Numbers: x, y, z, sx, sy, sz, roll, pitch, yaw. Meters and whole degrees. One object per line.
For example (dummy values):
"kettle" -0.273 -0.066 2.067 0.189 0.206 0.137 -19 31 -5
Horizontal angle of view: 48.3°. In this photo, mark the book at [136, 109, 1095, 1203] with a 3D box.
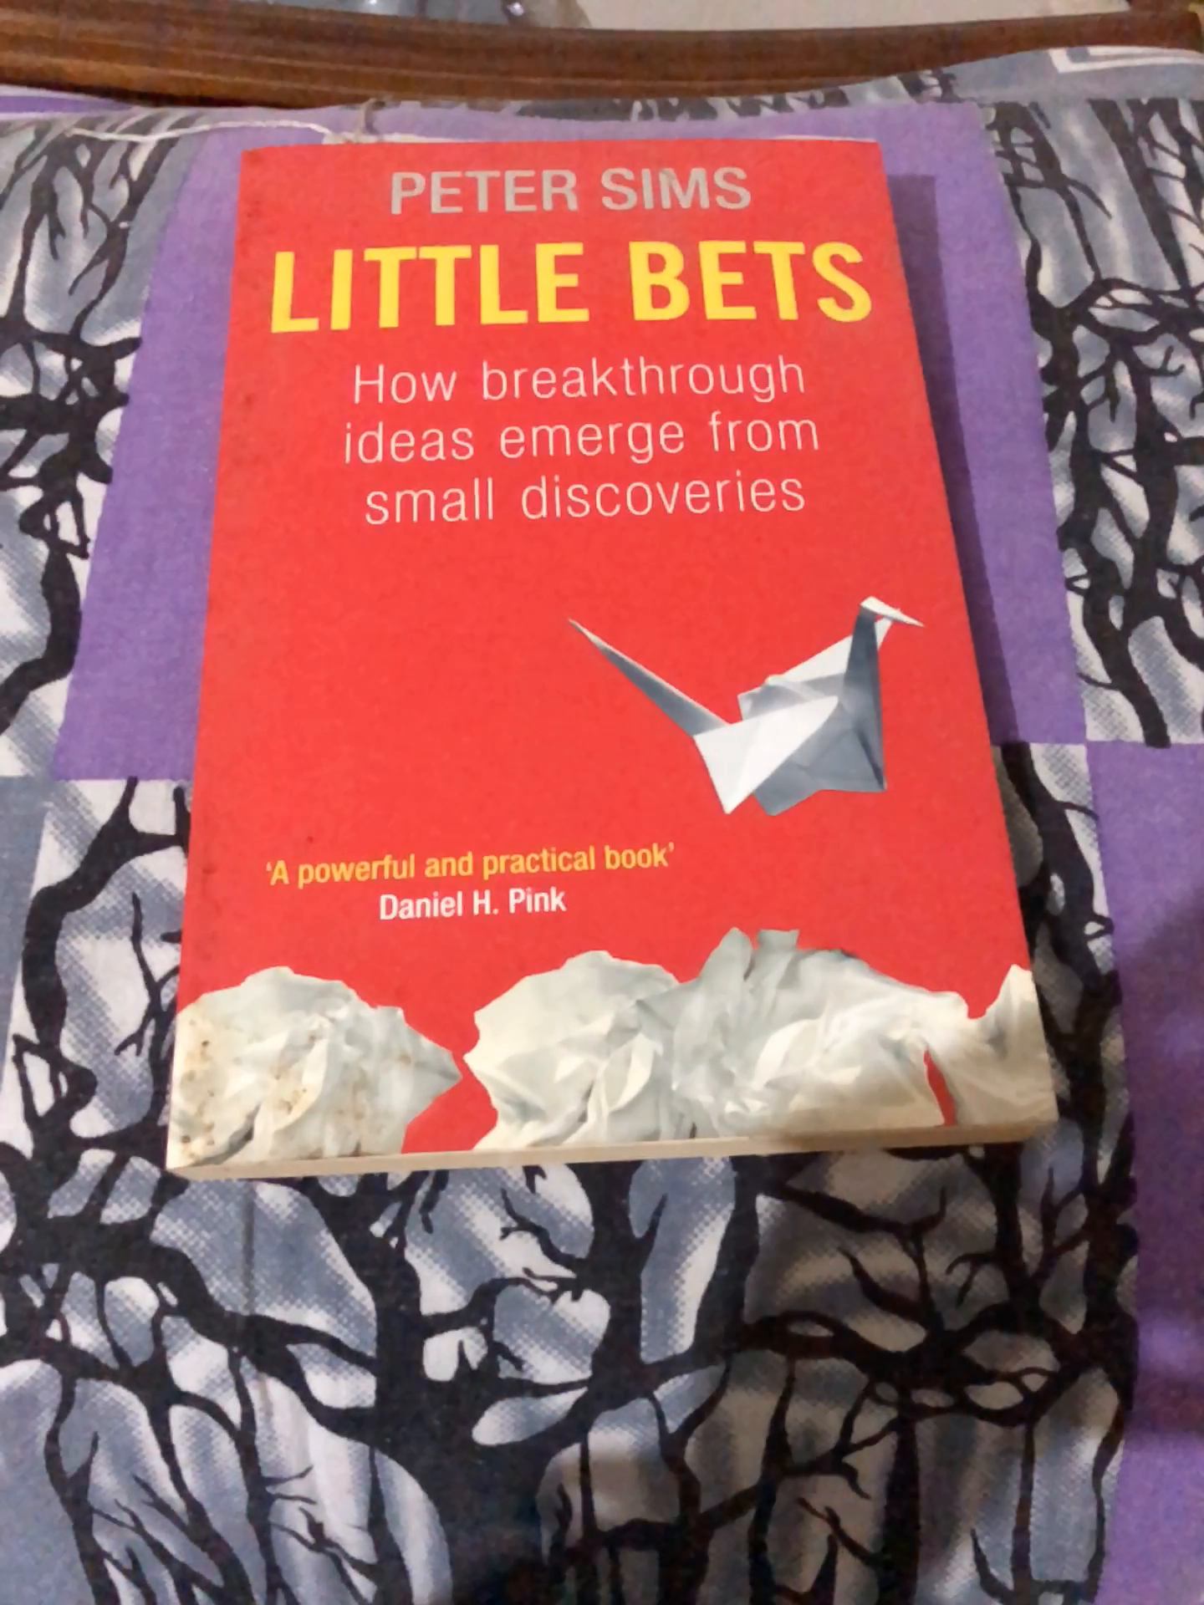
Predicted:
"book" -0.002 -0.048 0.271 0.150 0.020 0.240 -2 64 -1
